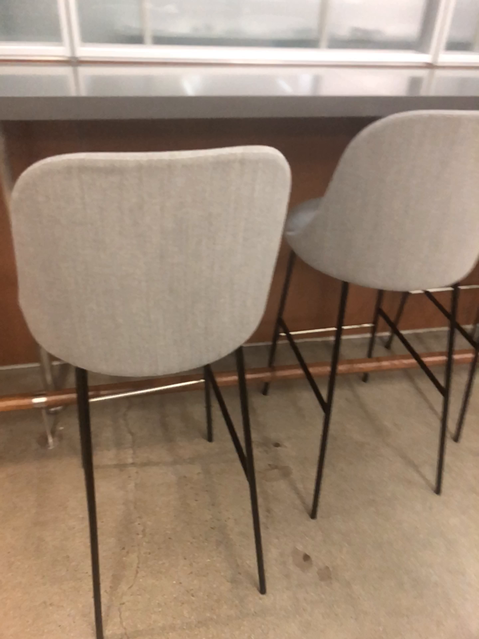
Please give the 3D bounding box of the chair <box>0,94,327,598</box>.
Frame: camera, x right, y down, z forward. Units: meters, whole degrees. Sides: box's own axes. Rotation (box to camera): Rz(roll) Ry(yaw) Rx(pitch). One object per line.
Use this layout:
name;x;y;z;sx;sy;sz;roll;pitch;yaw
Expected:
chair;-0.261;0.128;1.741;0.711;1.487;0.624;-7;35;-14
